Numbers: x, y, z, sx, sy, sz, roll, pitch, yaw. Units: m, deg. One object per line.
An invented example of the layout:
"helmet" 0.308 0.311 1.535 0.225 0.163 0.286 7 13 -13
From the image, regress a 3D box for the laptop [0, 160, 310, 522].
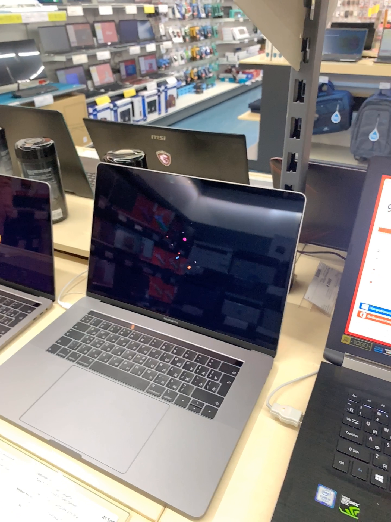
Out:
"laptop" -0.076 0.044 0.522 0.345 0.210 0.326 14 35 23
